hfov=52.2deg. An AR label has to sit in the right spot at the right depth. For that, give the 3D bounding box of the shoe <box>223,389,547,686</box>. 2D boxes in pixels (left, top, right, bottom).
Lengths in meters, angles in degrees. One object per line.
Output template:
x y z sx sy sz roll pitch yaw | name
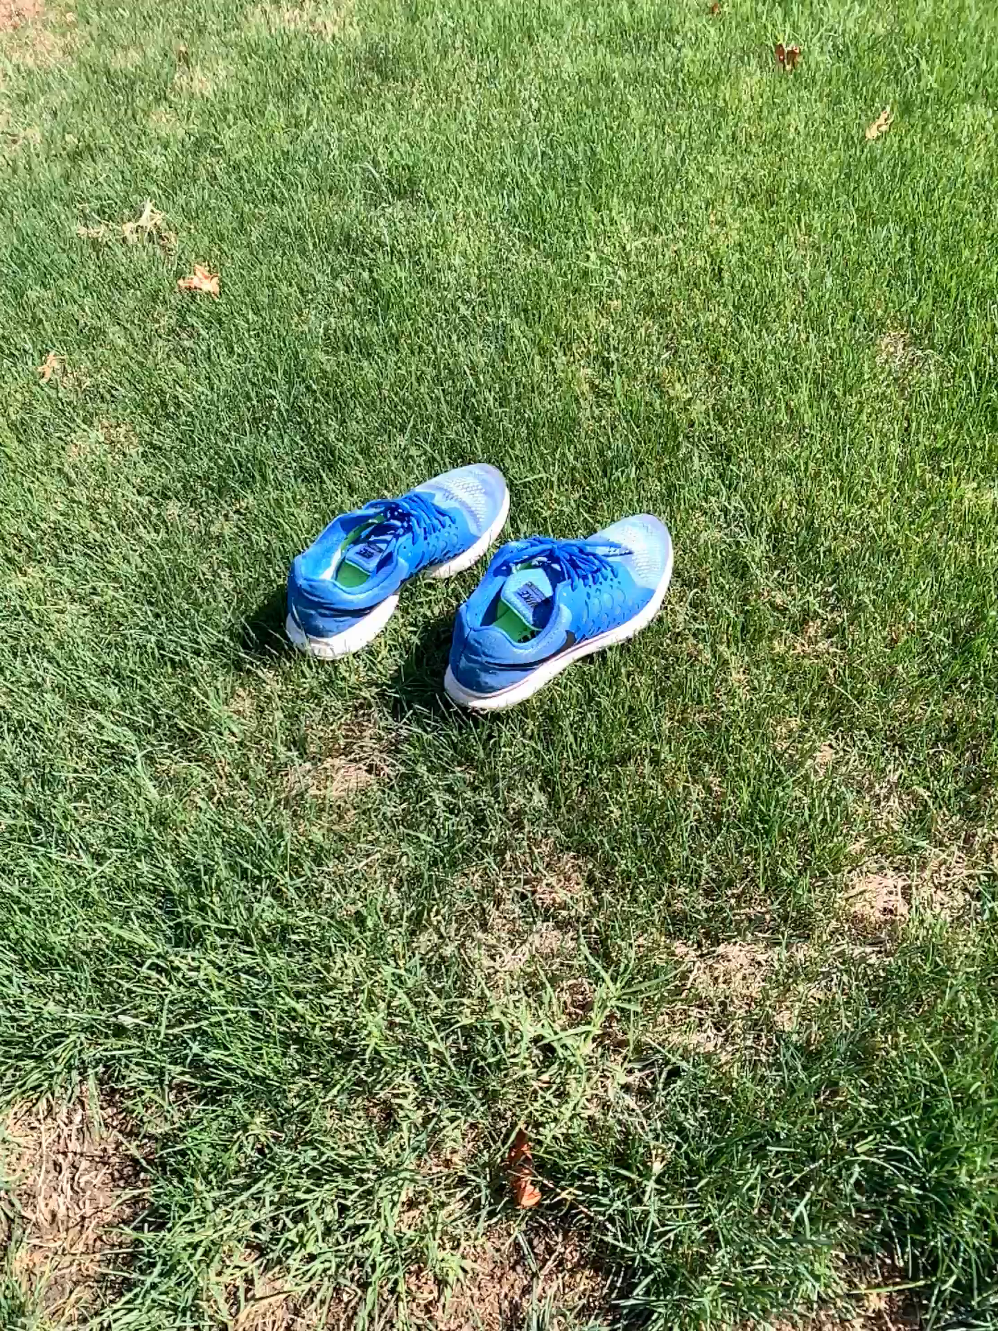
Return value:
-0.101 -0.132 1.003 0.290 0.119 0.120 -37 57 -23 | shoe

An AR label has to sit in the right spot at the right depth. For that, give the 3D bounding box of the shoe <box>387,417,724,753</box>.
0.059 -0.082 0.955 0.290 0.139 0.131 -37 57 -23 | shoe
